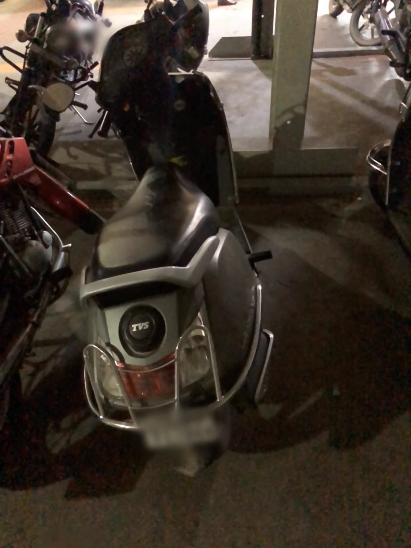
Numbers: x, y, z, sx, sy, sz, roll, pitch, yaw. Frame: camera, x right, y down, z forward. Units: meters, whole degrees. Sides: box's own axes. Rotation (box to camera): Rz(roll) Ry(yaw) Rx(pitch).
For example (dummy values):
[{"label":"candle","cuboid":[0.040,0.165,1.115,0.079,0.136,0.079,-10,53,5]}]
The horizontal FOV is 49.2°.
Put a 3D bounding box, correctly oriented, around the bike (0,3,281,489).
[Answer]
[{"label":"bike","cuboid":[-0.167,-0.186,1.612,0.602,1.094,1.388,-3,42,1]}]
